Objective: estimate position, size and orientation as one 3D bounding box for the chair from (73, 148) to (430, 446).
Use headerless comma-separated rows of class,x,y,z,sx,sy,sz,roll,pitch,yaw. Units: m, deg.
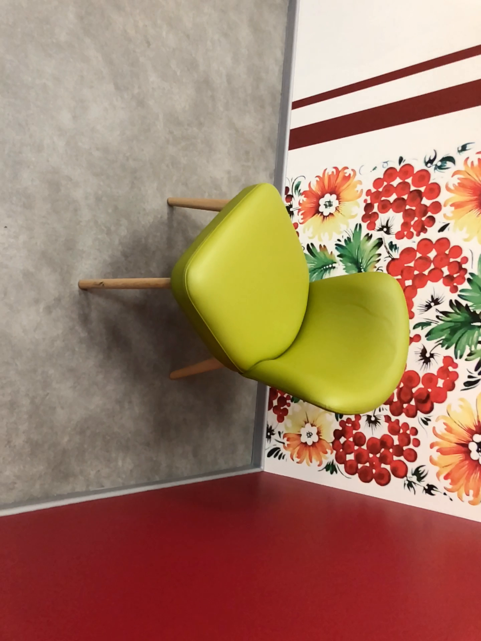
chair,0.053,-0.067,1.597,0.522,0.776,0.571,-53,129,-36
